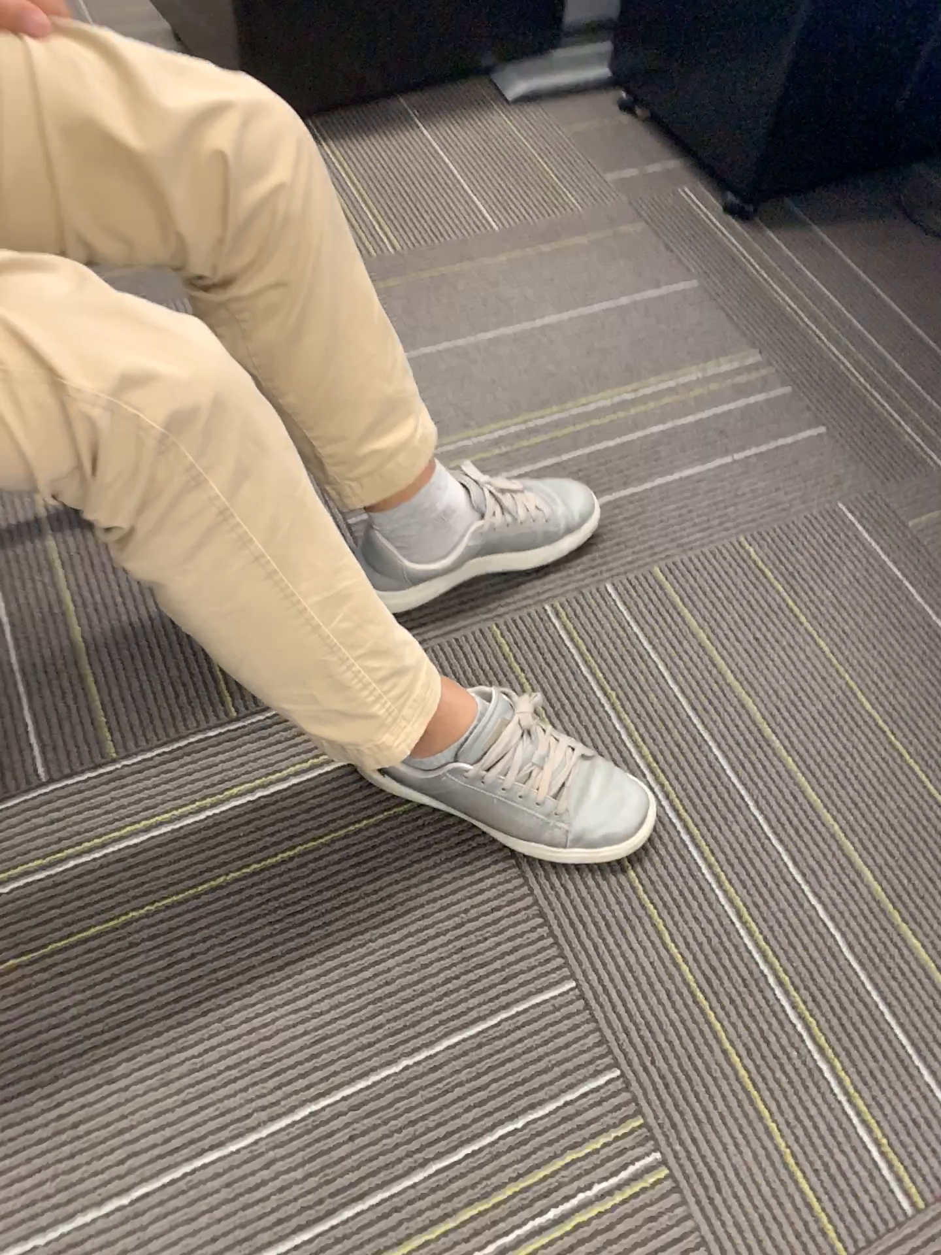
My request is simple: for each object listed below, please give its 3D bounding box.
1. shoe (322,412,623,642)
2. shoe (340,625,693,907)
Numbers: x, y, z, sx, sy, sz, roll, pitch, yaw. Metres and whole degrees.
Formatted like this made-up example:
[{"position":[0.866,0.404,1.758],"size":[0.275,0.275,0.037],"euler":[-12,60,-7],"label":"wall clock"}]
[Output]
[{"position":[0.000,-0.109,1.012],"size":[0.280,0.110,0.120],"euler":[-21,61,-18],"label":"shoe"},{"position":[0.036,0.124,0.851],"size":[0.270,0.140,0.120],"euler":[18,57,7],"label":"shoe"}]
